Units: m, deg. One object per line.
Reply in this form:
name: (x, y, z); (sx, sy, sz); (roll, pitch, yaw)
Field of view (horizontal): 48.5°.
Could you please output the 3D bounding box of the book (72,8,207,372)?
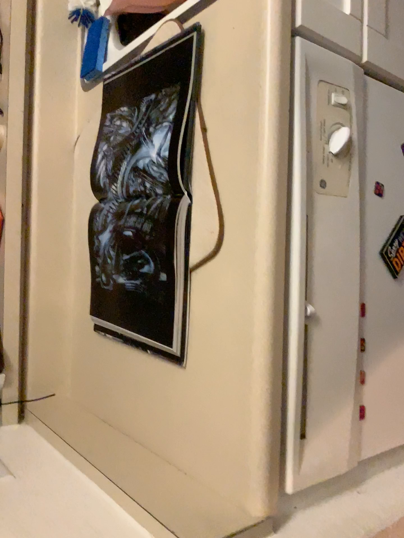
book: (-0.133, -0.123, 0.806); (0.350, 0.040, 0.530); (7, 94, 52)
